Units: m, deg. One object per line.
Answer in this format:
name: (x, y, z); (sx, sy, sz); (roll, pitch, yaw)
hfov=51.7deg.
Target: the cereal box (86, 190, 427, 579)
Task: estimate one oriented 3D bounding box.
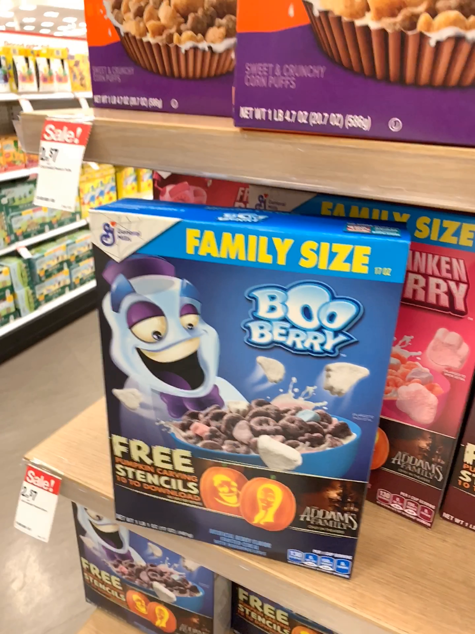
cereal box: (0.005, 0.062, 0.424); (0.240, 0.309, 0.060); (8, 24, 12)
